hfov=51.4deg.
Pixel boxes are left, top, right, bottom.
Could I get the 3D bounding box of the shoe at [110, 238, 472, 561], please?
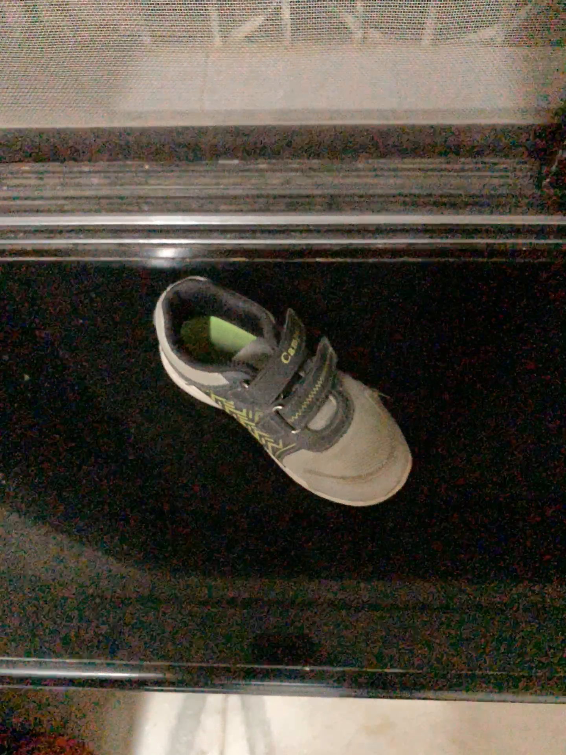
[{"bbox_3d":[0.000,0.013,0.418,0.231,0.080,0.090,37,72,17],"label":"shoe"}]
